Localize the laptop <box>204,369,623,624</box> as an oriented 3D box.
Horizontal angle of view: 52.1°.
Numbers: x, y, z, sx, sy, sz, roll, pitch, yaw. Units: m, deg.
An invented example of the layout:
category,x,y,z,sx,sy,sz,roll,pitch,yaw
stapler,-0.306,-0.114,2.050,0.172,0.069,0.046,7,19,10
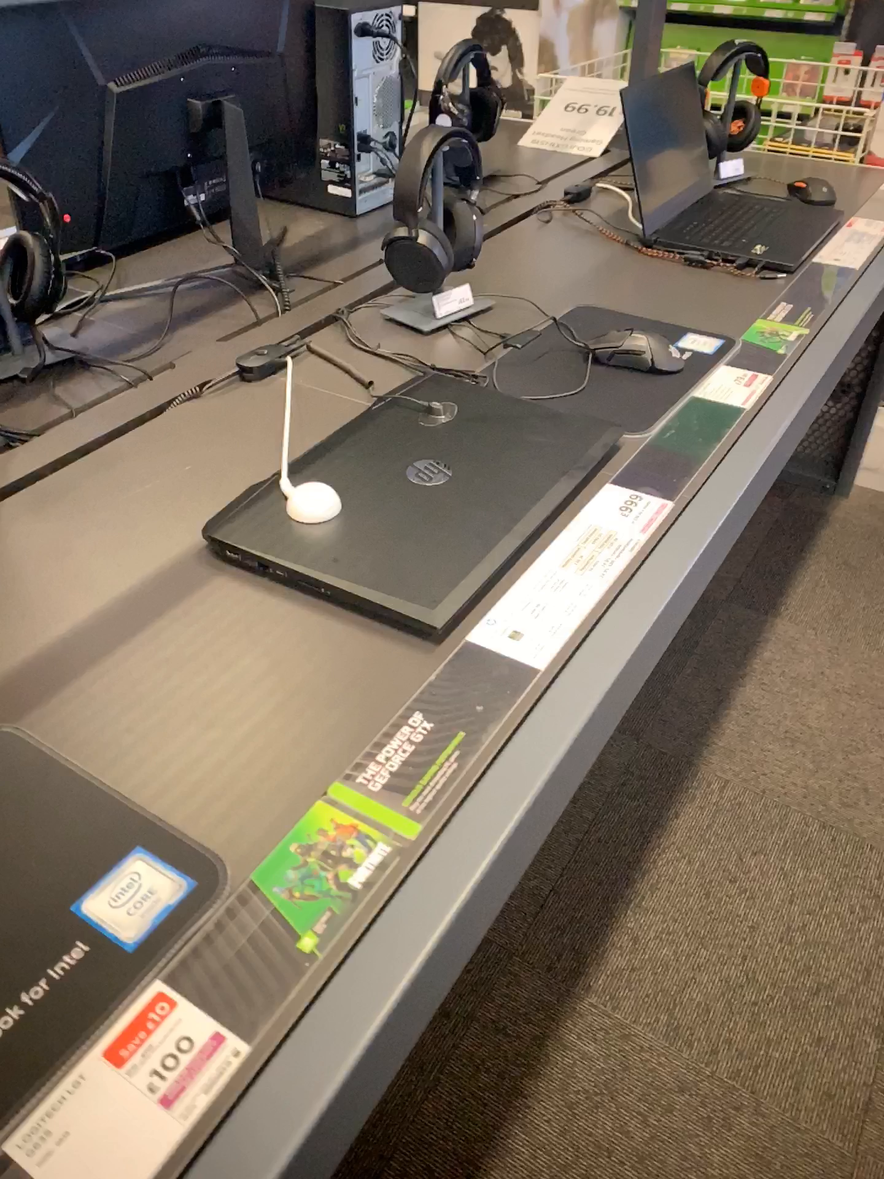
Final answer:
category,x,y,z,sx,sy,sz,roll,pitch,yaw
laptop,-0.011,-0.121,0.922,0.256,0.001,0.396,21,43,24
